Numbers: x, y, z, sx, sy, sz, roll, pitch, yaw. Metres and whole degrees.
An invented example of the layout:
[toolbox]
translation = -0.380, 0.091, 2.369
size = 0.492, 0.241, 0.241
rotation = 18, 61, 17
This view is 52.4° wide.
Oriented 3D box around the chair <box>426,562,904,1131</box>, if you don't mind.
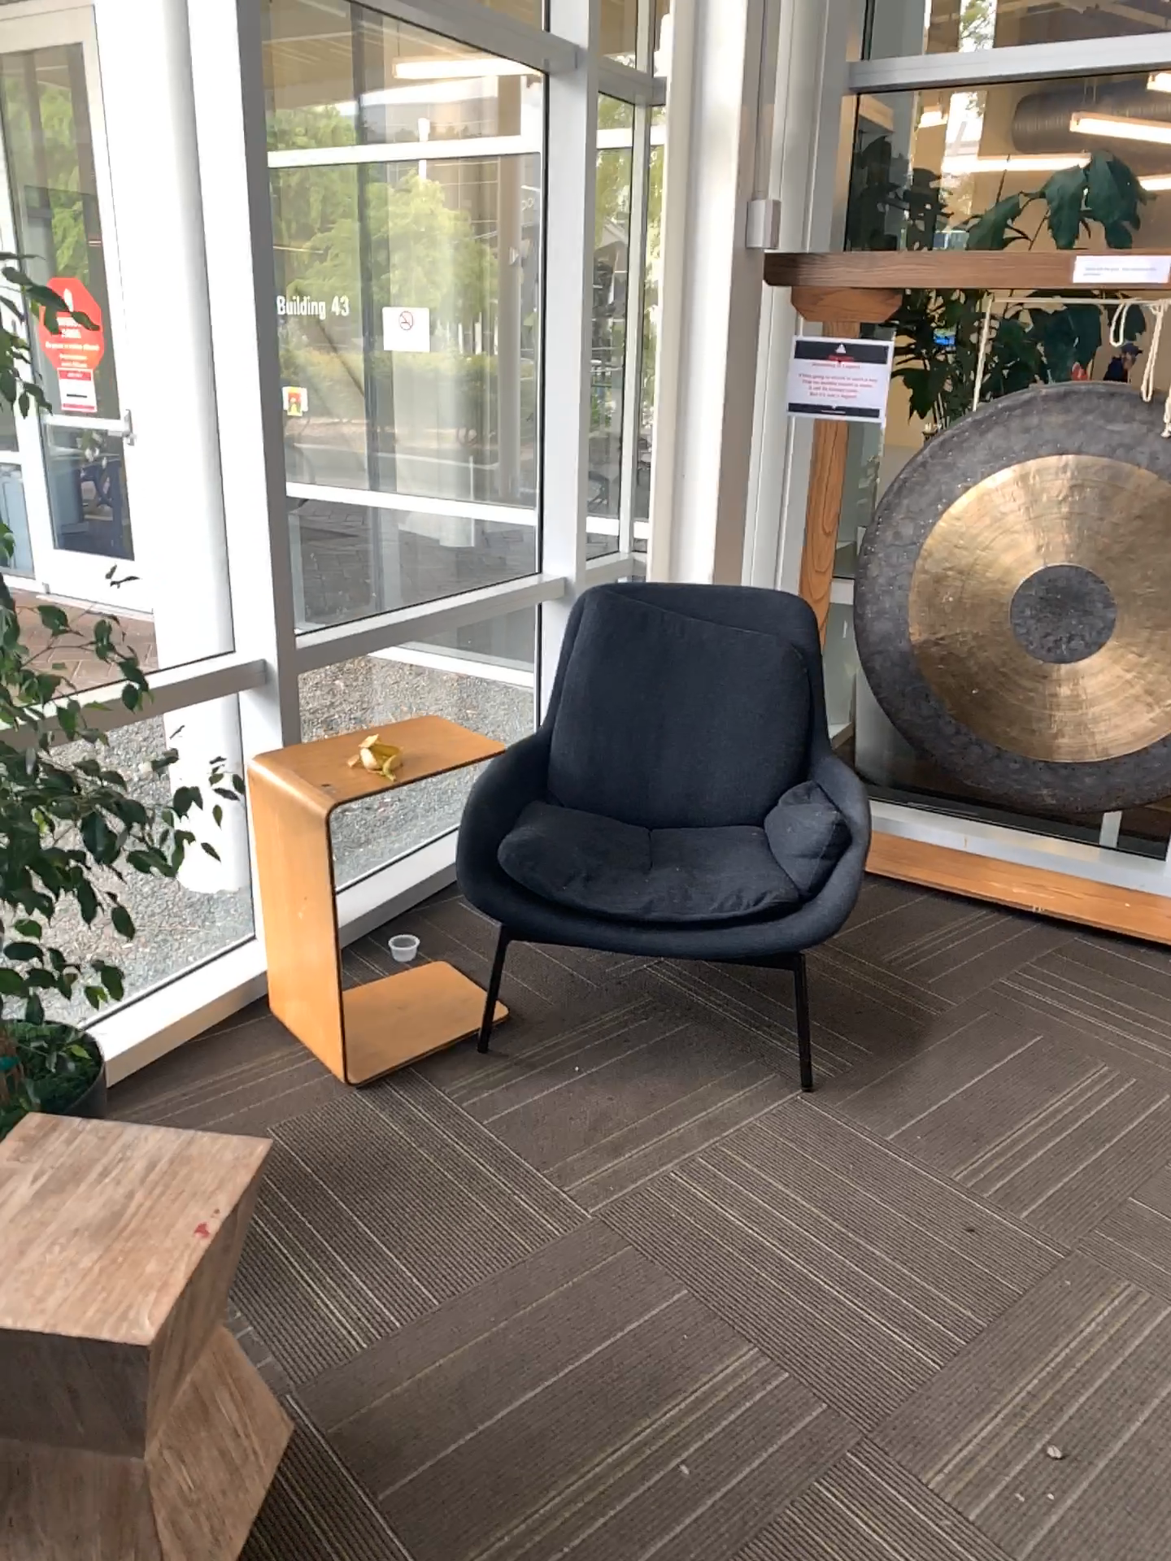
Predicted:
[chair]
translation = 0.192, 0.078, 2.844
size = 0.900, 0.995, 0.944
rotation = 4, 20, 7
